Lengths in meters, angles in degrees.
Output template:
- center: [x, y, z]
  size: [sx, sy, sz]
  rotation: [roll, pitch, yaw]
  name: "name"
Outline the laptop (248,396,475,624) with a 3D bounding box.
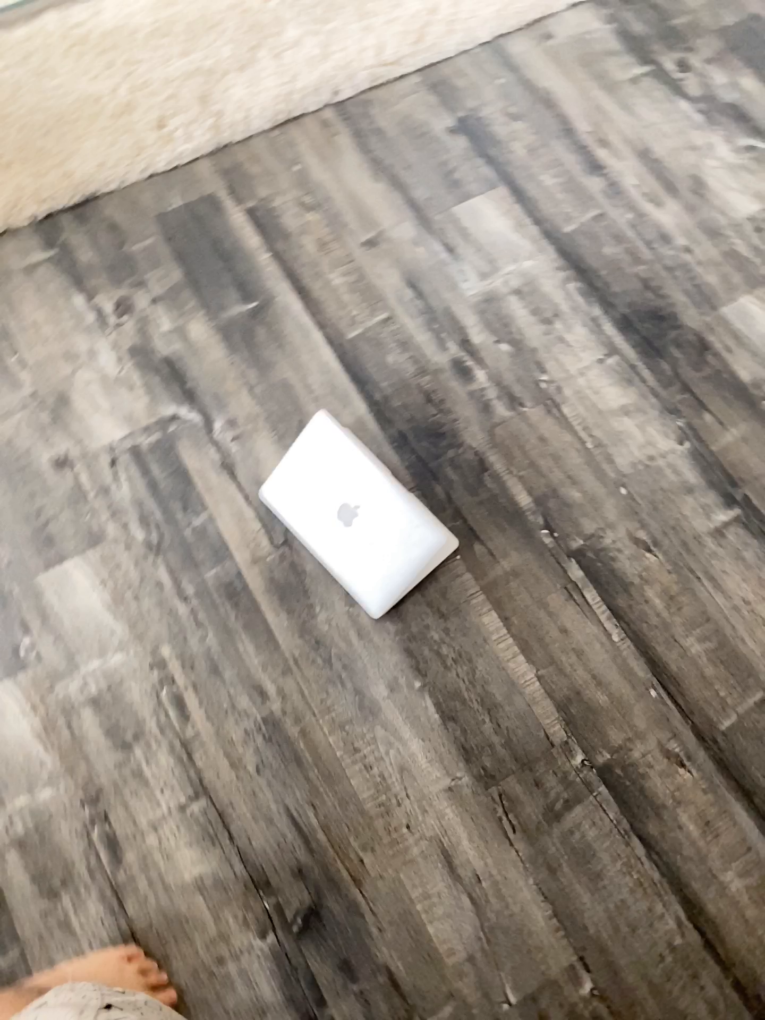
- center: [-0.033, -0.001, 1.129]
  size: [0.173, 0.113, 0.270]
  rotation: [-41, 74, -15]
  name: "laptop"
